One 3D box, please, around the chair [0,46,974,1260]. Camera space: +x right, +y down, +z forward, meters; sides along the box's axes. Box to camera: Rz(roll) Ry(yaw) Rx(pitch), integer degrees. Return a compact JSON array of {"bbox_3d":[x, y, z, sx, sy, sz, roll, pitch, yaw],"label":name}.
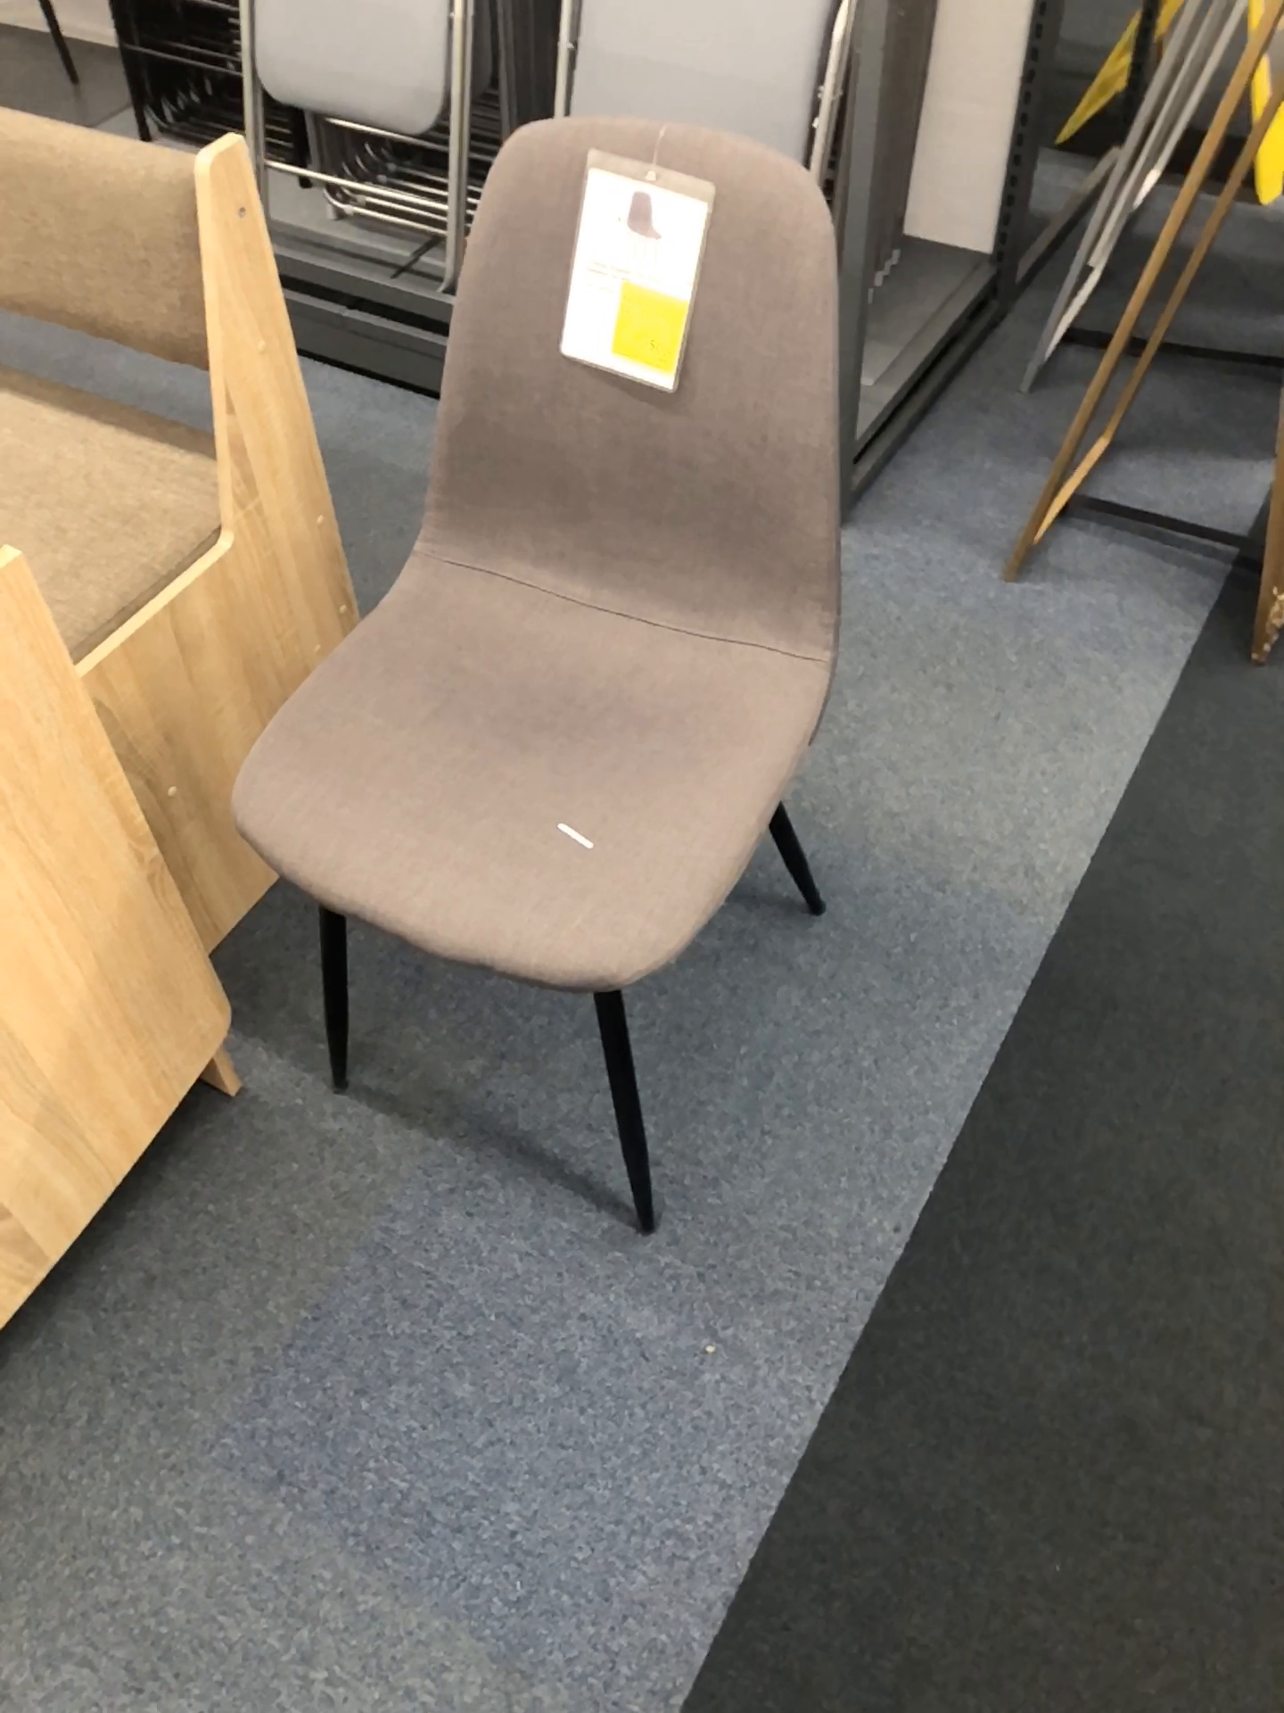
[{"bbox_3d":[-0.084,-0.145,1.245,0.480,0.807,0.541,20,54,18],"label":"chair"}]
